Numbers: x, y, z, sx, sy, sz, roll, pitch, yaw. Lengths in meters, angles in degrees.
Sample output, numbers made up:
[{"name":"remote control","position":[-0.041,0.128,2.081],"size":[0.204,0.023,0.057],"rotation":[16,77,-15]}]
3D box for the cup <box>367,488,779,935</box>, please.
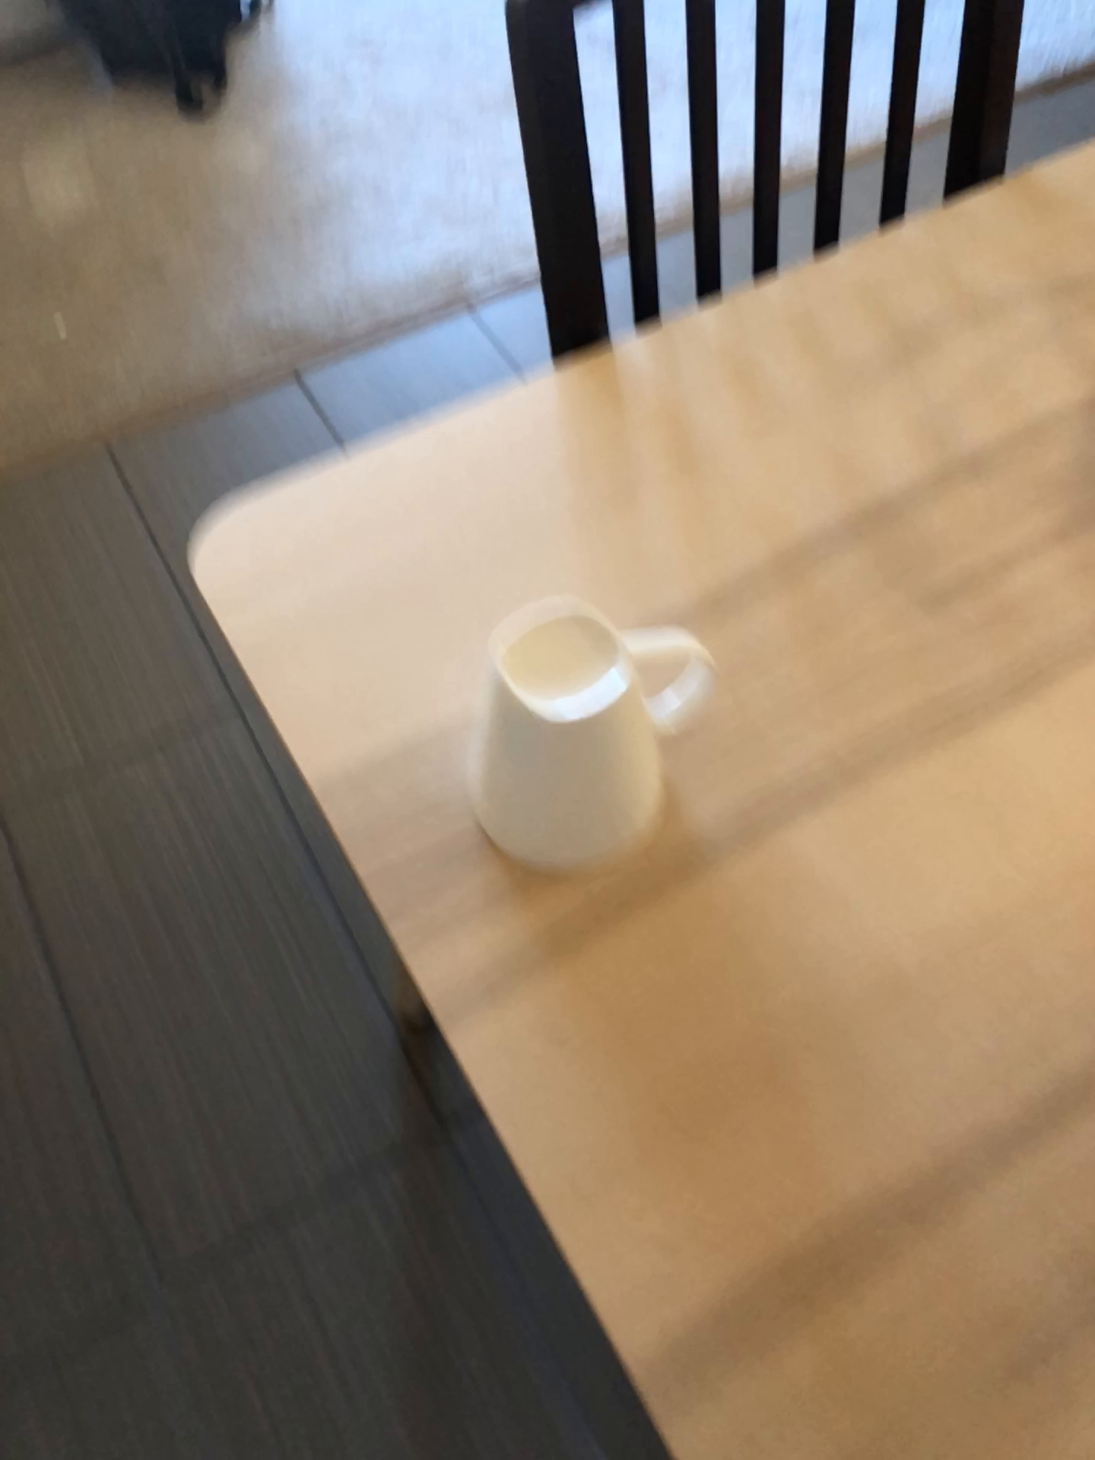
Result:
[{"name":"cup","position":[0.013,-0.008,0.555],"size":[0.140,0.120,0.100],"rotation":[-32,59,-18]}]
